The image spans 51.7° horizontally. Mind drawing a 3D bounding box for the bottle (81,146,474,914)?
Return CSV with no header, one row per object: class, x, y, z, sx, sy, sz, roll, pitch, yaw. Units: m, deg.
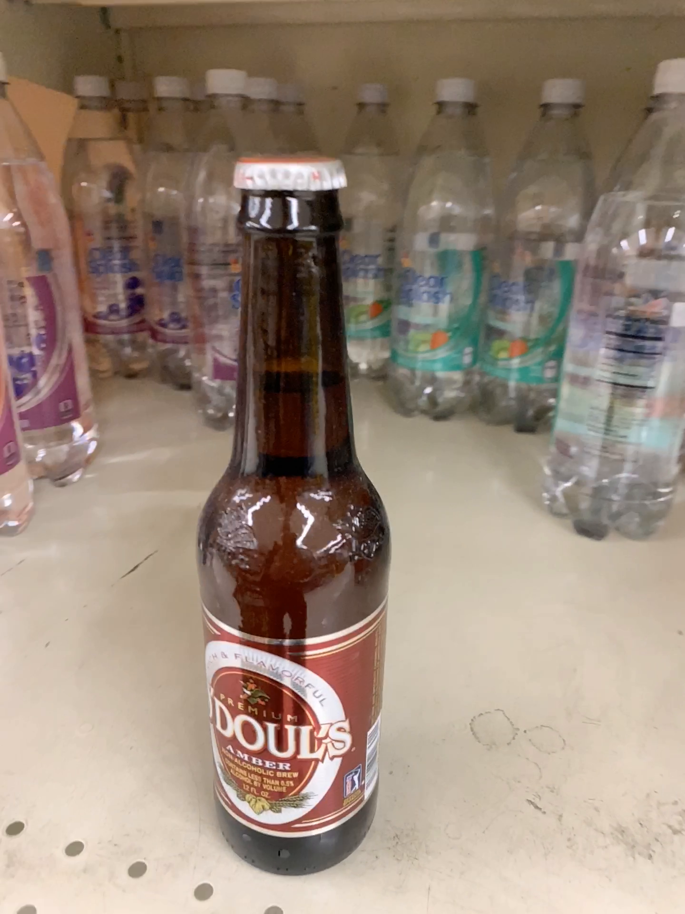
bottle,-0.013,0.025,0.219,0.070,0.219,0.070,1,25,0
